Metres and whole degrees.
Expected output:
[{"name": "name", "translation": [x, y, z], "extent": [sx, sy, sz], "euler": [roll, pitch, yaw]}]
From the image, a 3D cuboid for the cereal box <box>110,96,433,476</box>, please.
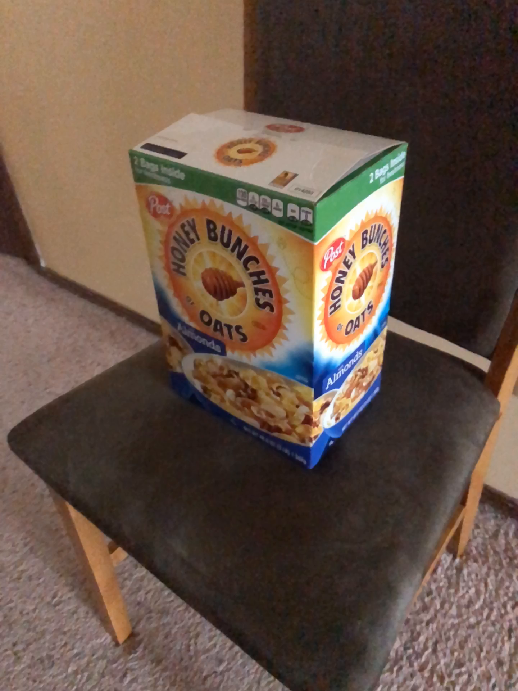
[{"name": "cereal box", "translation": [0.015, -0.066, 0.566], "extent": [0.220, 0.279, 0.160], "euler": [25, 45, 32]}]
